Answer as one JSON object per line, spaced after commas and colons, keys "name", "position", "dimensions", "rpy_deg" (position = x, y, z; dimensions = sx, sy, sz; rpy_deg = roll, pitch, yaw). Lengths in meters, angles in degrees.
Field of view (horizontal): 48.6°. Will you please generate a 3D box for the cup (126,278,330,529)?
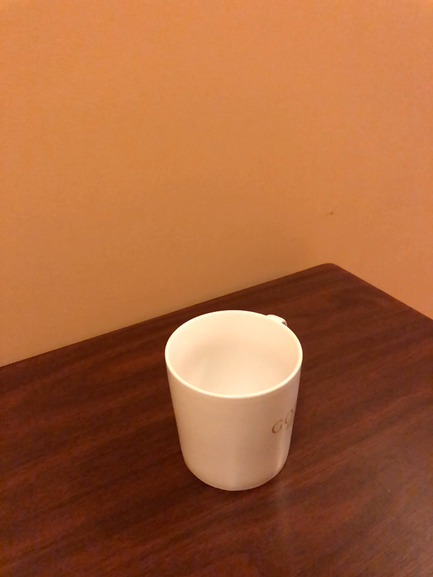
{"name": "cup", "position": [0.020, 0.077, 0.381], "dimensions": [0.110, 0.100, 0.151], "rpy_deg": [8, 31, 18]}
